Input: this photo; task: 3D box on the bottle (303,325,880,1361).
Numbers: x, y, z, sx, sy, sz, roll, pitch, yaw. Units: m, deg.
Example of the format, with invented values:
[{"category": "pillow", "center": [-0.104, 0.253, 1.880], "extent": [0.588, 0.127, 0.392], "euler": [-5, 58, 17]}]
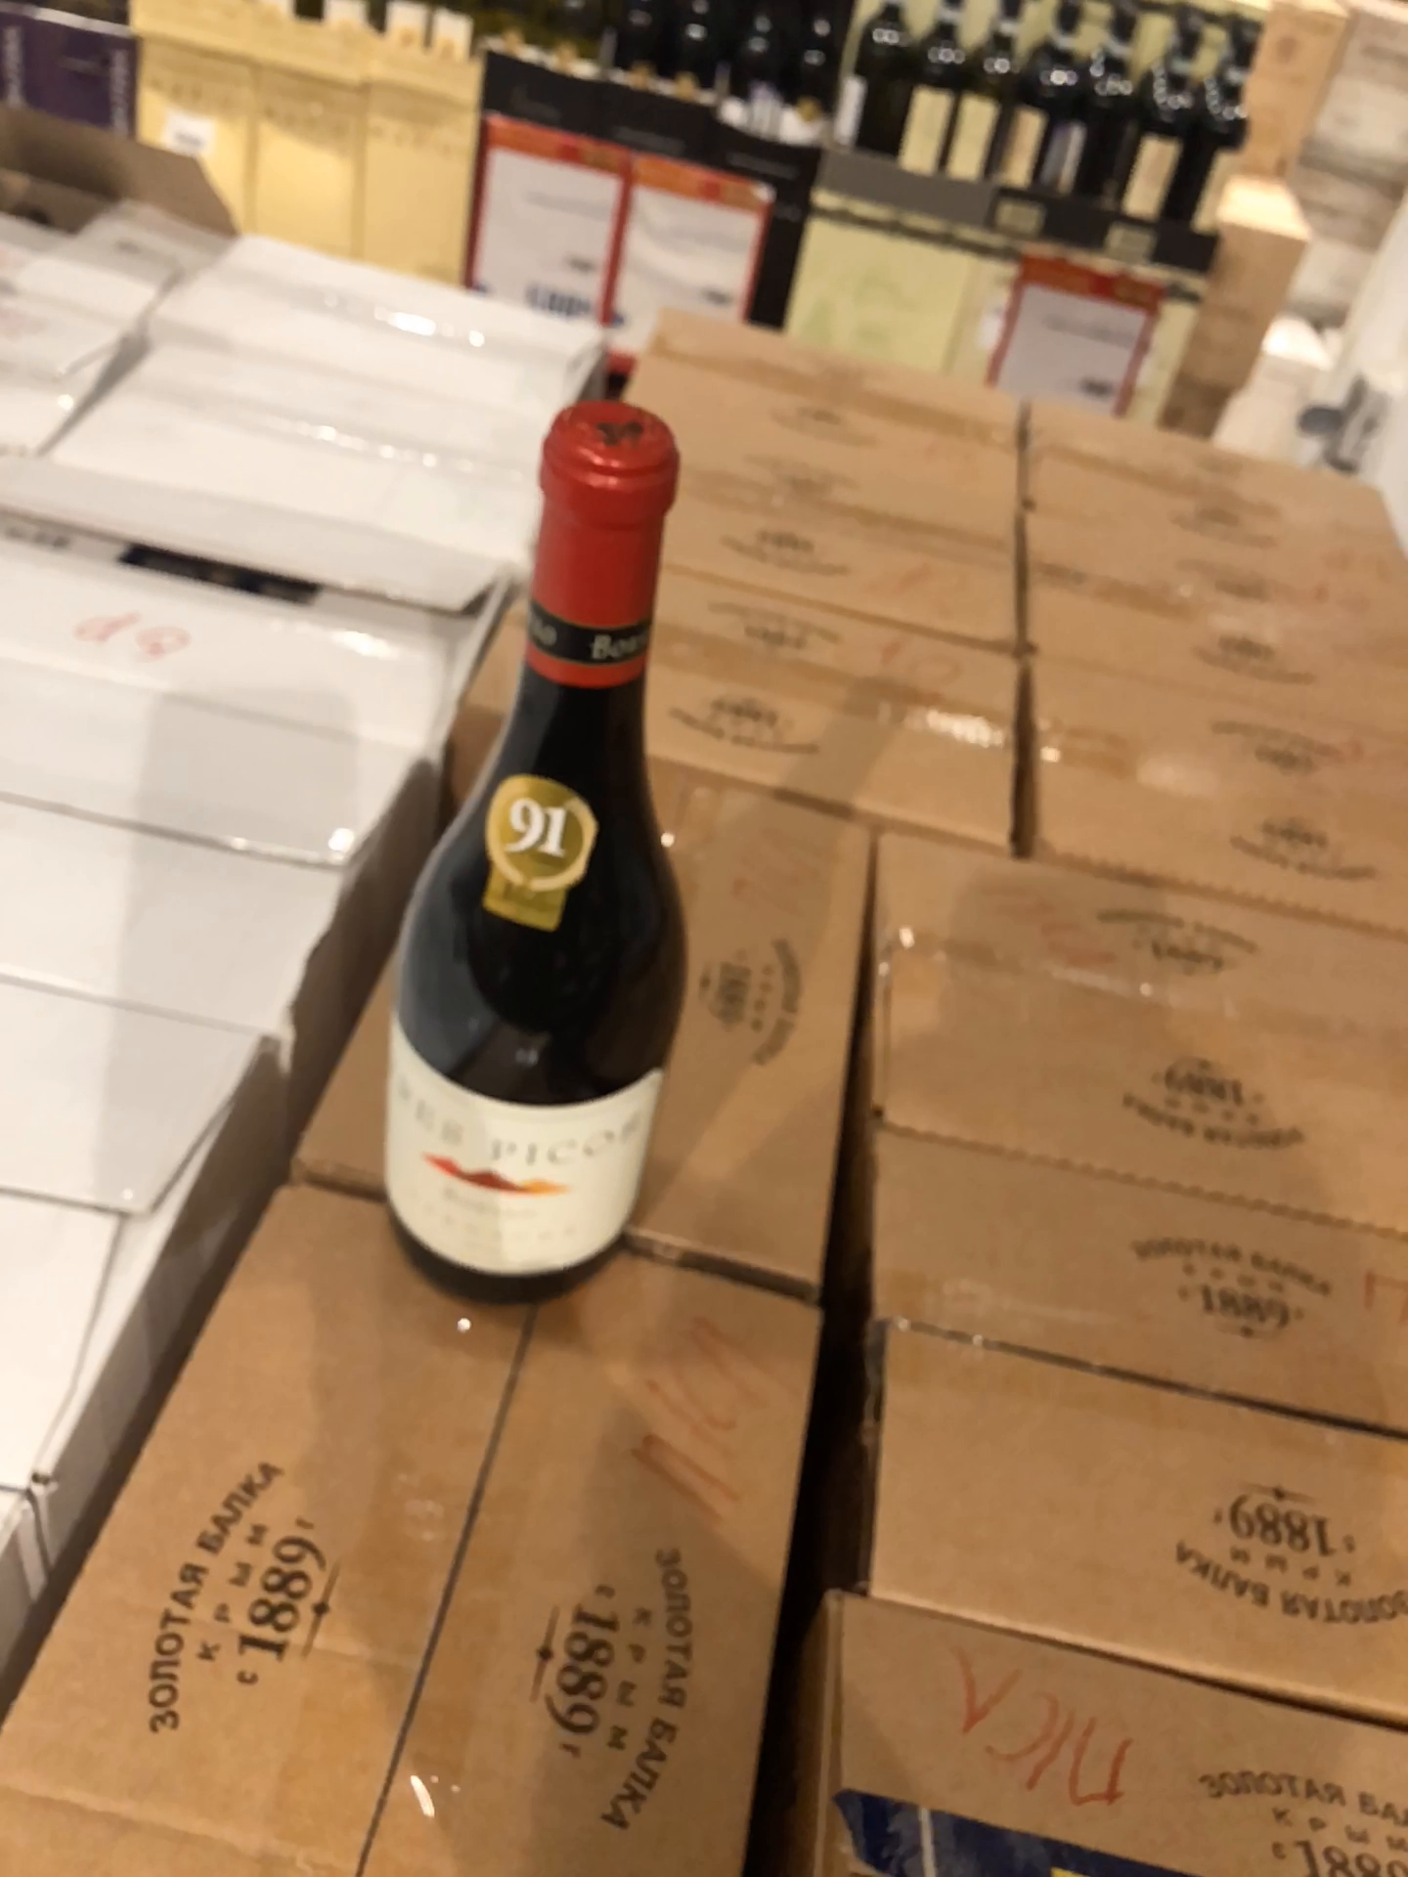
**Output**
[{"category": "bottle", "center": [-0.041, -0.012, 0.447], "extent": [0.100, 0.268, 0.101], "euler": [9, 41, -7]}]
